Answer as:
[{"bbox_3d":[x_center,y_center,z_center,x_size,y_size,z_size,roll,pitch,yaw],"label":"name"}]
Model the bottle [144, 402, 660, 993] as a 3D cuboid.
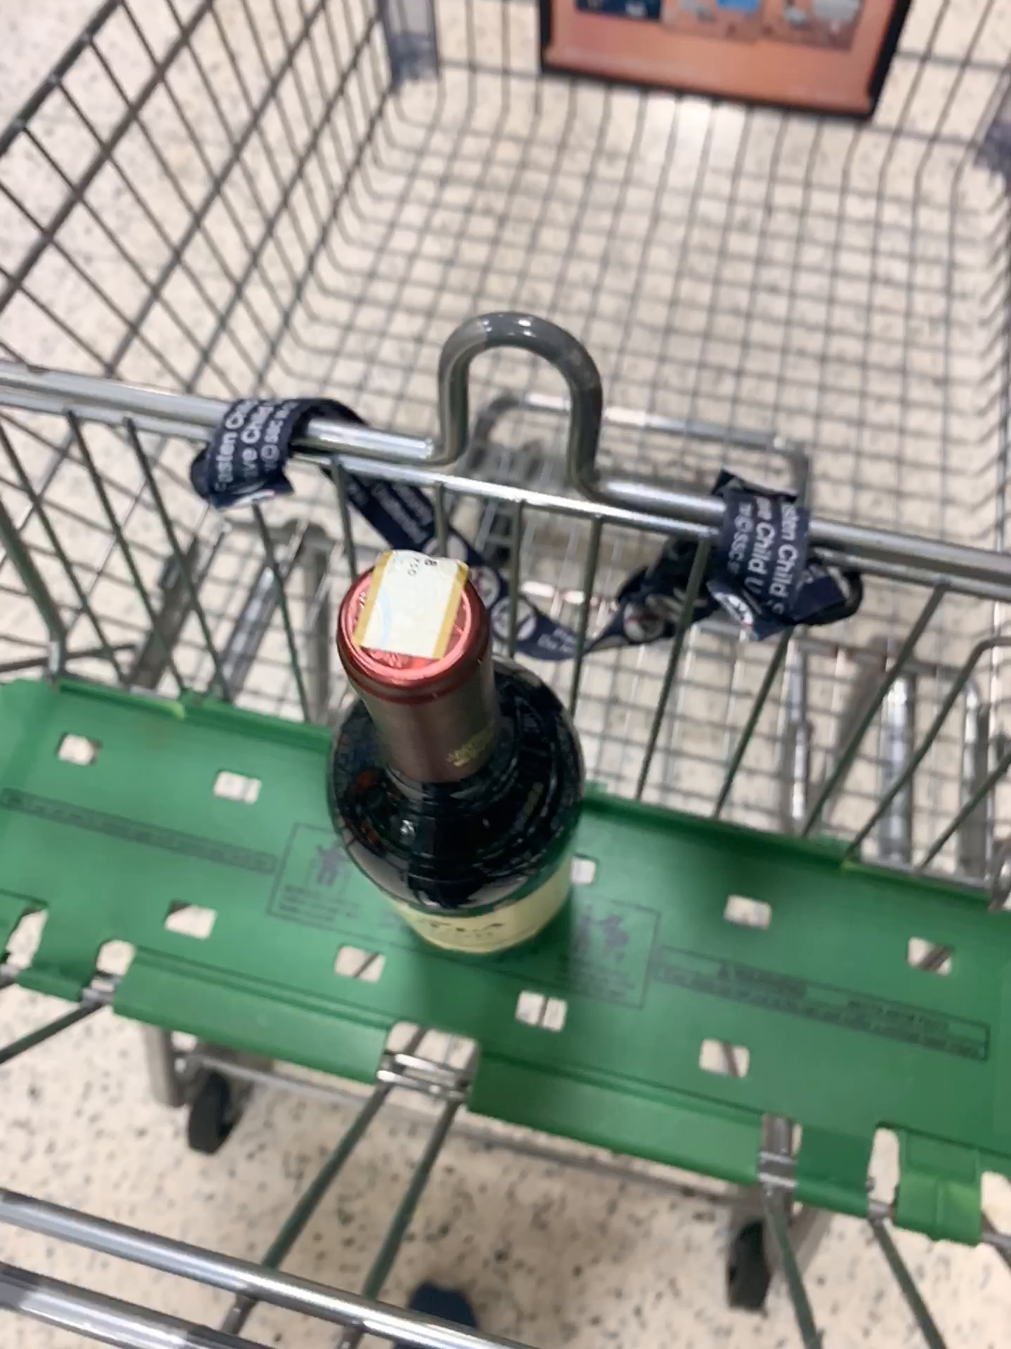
[{"bbox_3d":[-0.013,0.037,0.334,0.080,0.269,0.080,-1,69,2],"label":"bottle"}]
